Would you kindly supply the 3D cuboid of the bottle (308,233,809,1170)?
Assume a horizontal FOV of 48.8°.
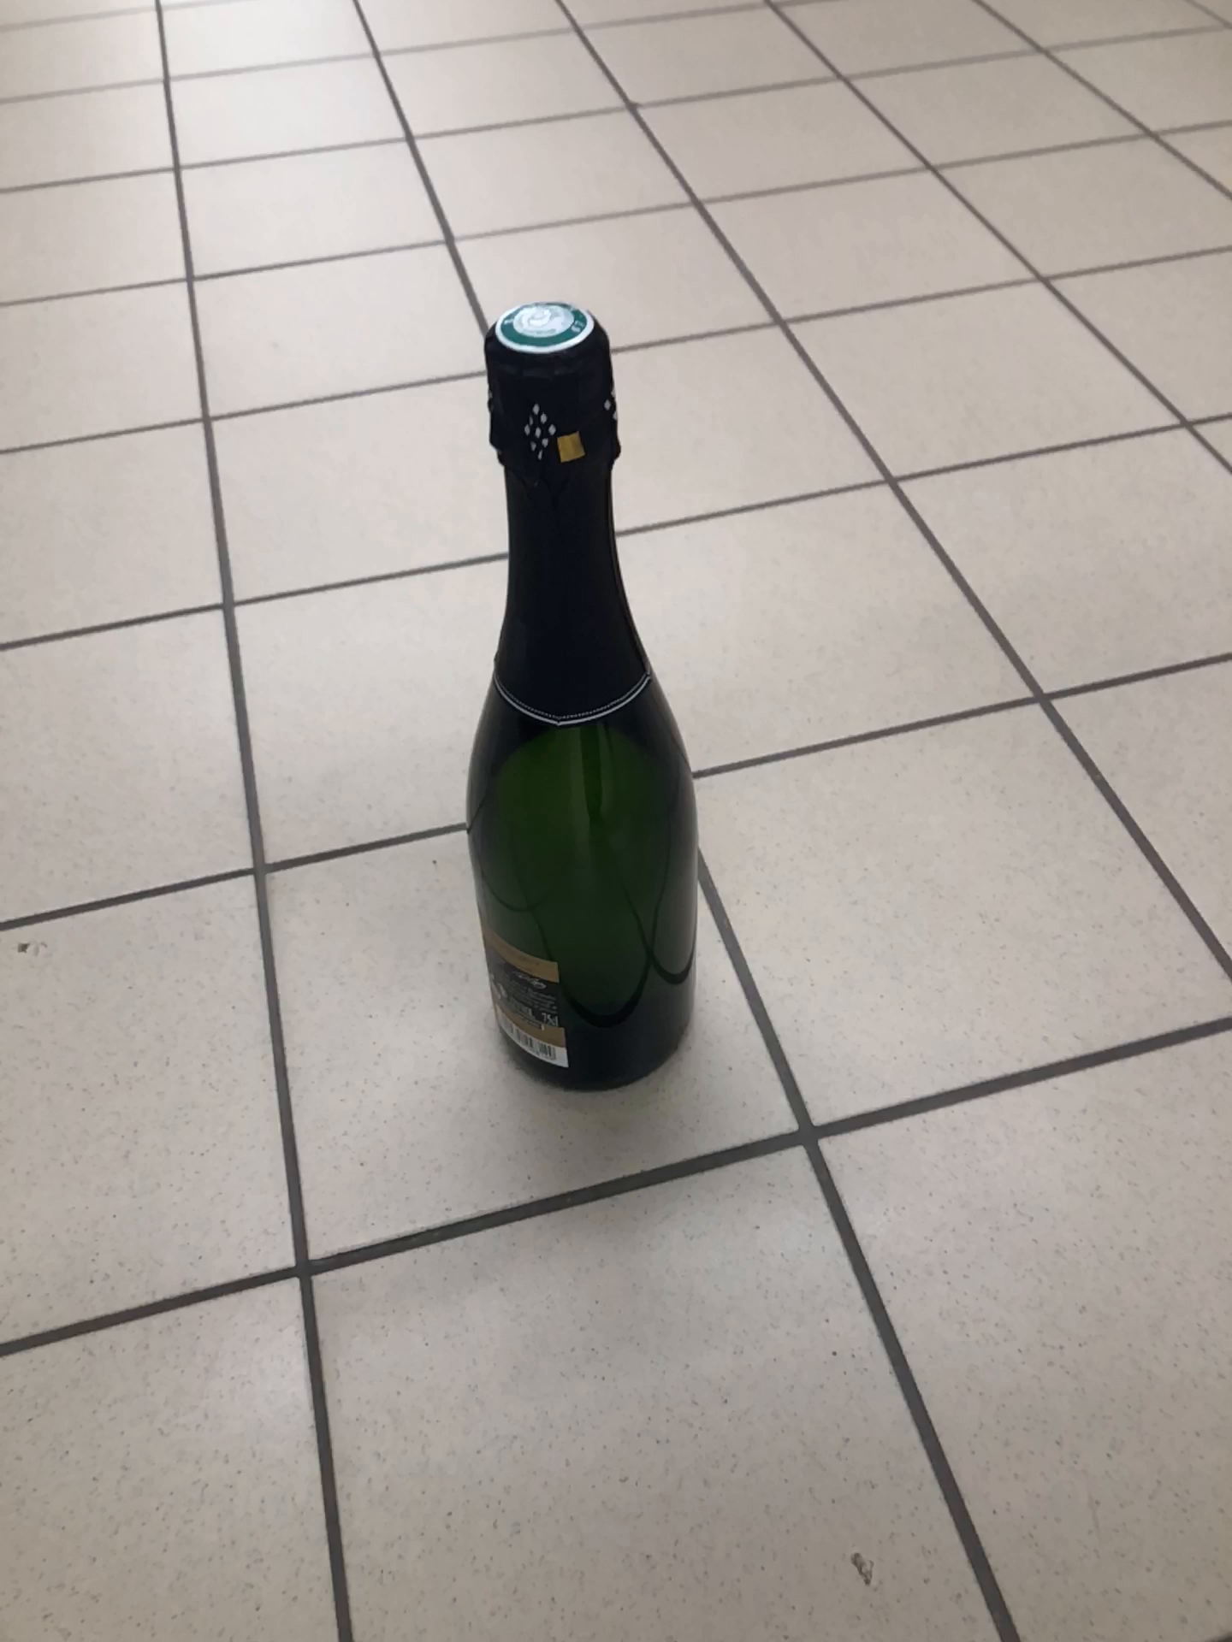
[{"bbox_3d":[-0.013,-0.017,0.463,0.090,0.308,0.100,-27,52,-21],"label":"bottle"}]
